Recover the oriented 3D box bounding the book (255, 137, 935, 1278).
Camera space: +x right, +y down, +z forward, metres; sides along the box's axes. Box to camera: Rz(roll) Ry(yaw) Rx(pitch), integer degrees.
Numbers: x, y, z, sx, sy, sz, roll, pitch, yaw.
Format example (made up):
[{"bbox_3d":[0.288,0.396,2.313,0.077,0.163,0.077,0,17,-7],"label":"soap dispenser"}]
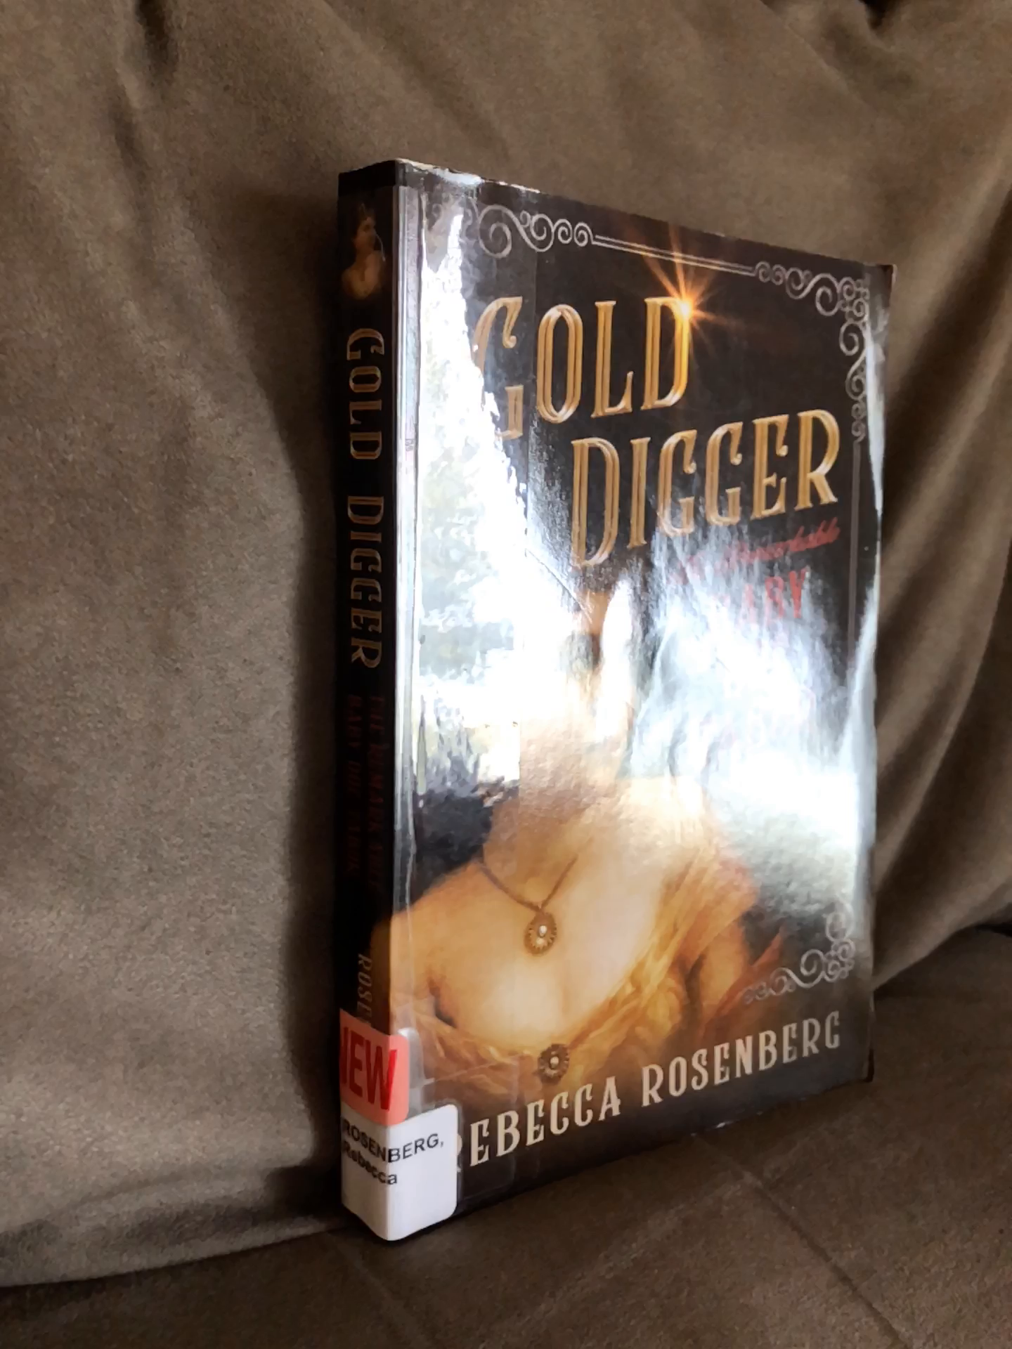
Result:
[{"bbox_3d":[0.029,0.003,0.246,0.150,0.200,0.030,-5,6,-29],"label":"book"}]
